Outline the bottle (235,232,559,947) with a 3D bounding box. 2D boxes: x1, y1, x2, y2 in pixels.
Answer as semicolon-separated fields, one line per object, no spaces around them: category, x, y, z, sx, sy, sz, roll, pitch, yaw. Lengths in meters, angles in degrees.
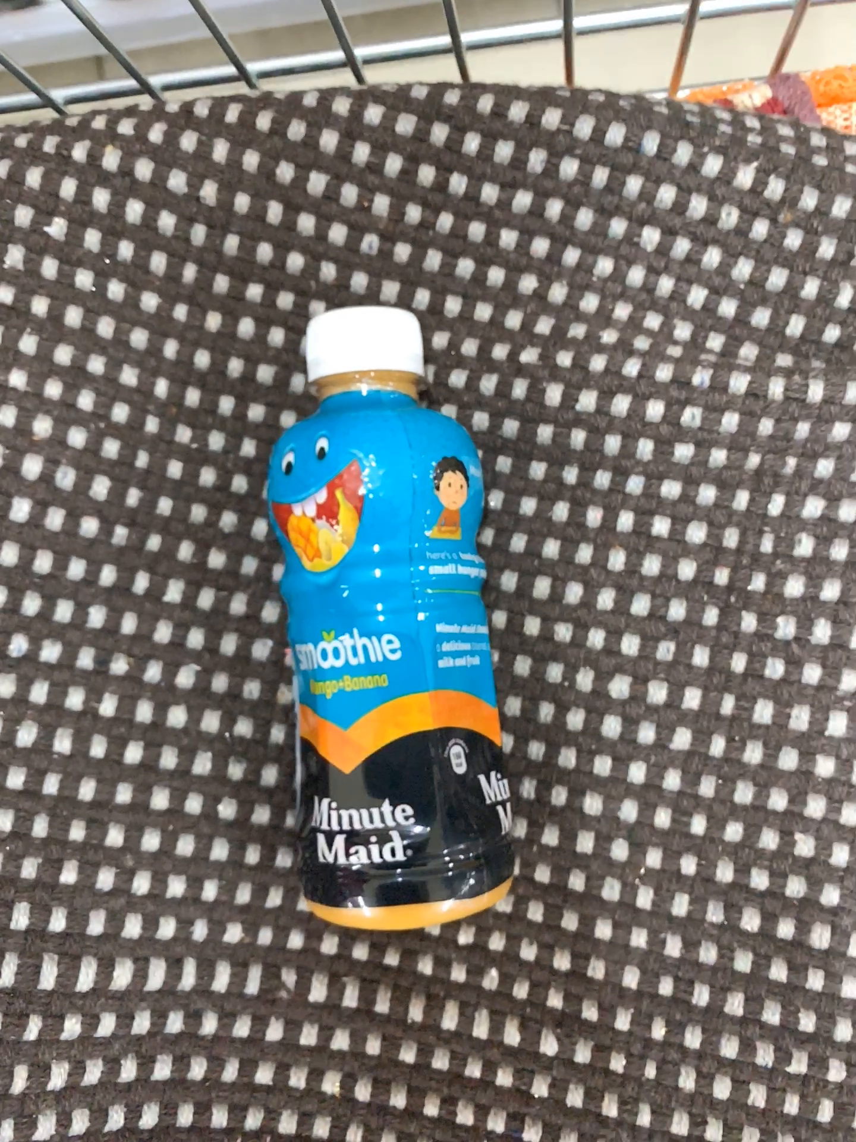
bottle;-0.007;0.004;0.227;0.060;0.040;0.160;-6;88;2
